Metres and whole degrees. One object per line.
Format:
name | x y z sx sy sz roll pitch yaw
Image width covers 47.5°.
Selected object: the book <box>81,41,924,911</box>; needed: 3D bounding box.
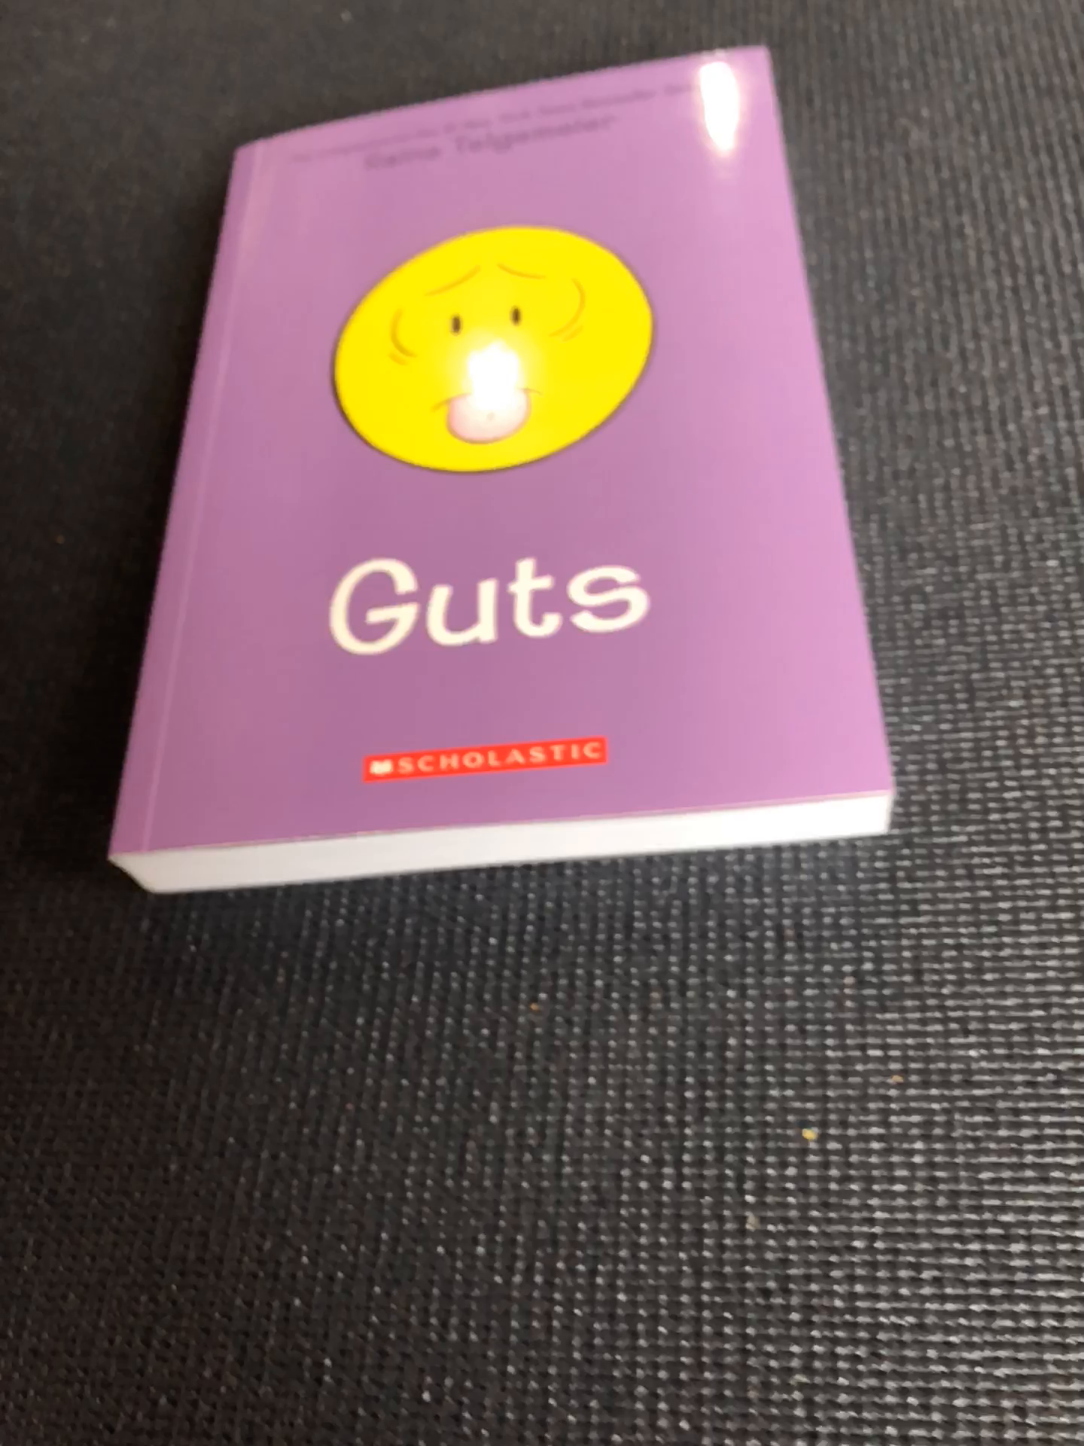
book | -0.009 -0.064 0.266 0.143 0.024 0.202 -6 59 8
